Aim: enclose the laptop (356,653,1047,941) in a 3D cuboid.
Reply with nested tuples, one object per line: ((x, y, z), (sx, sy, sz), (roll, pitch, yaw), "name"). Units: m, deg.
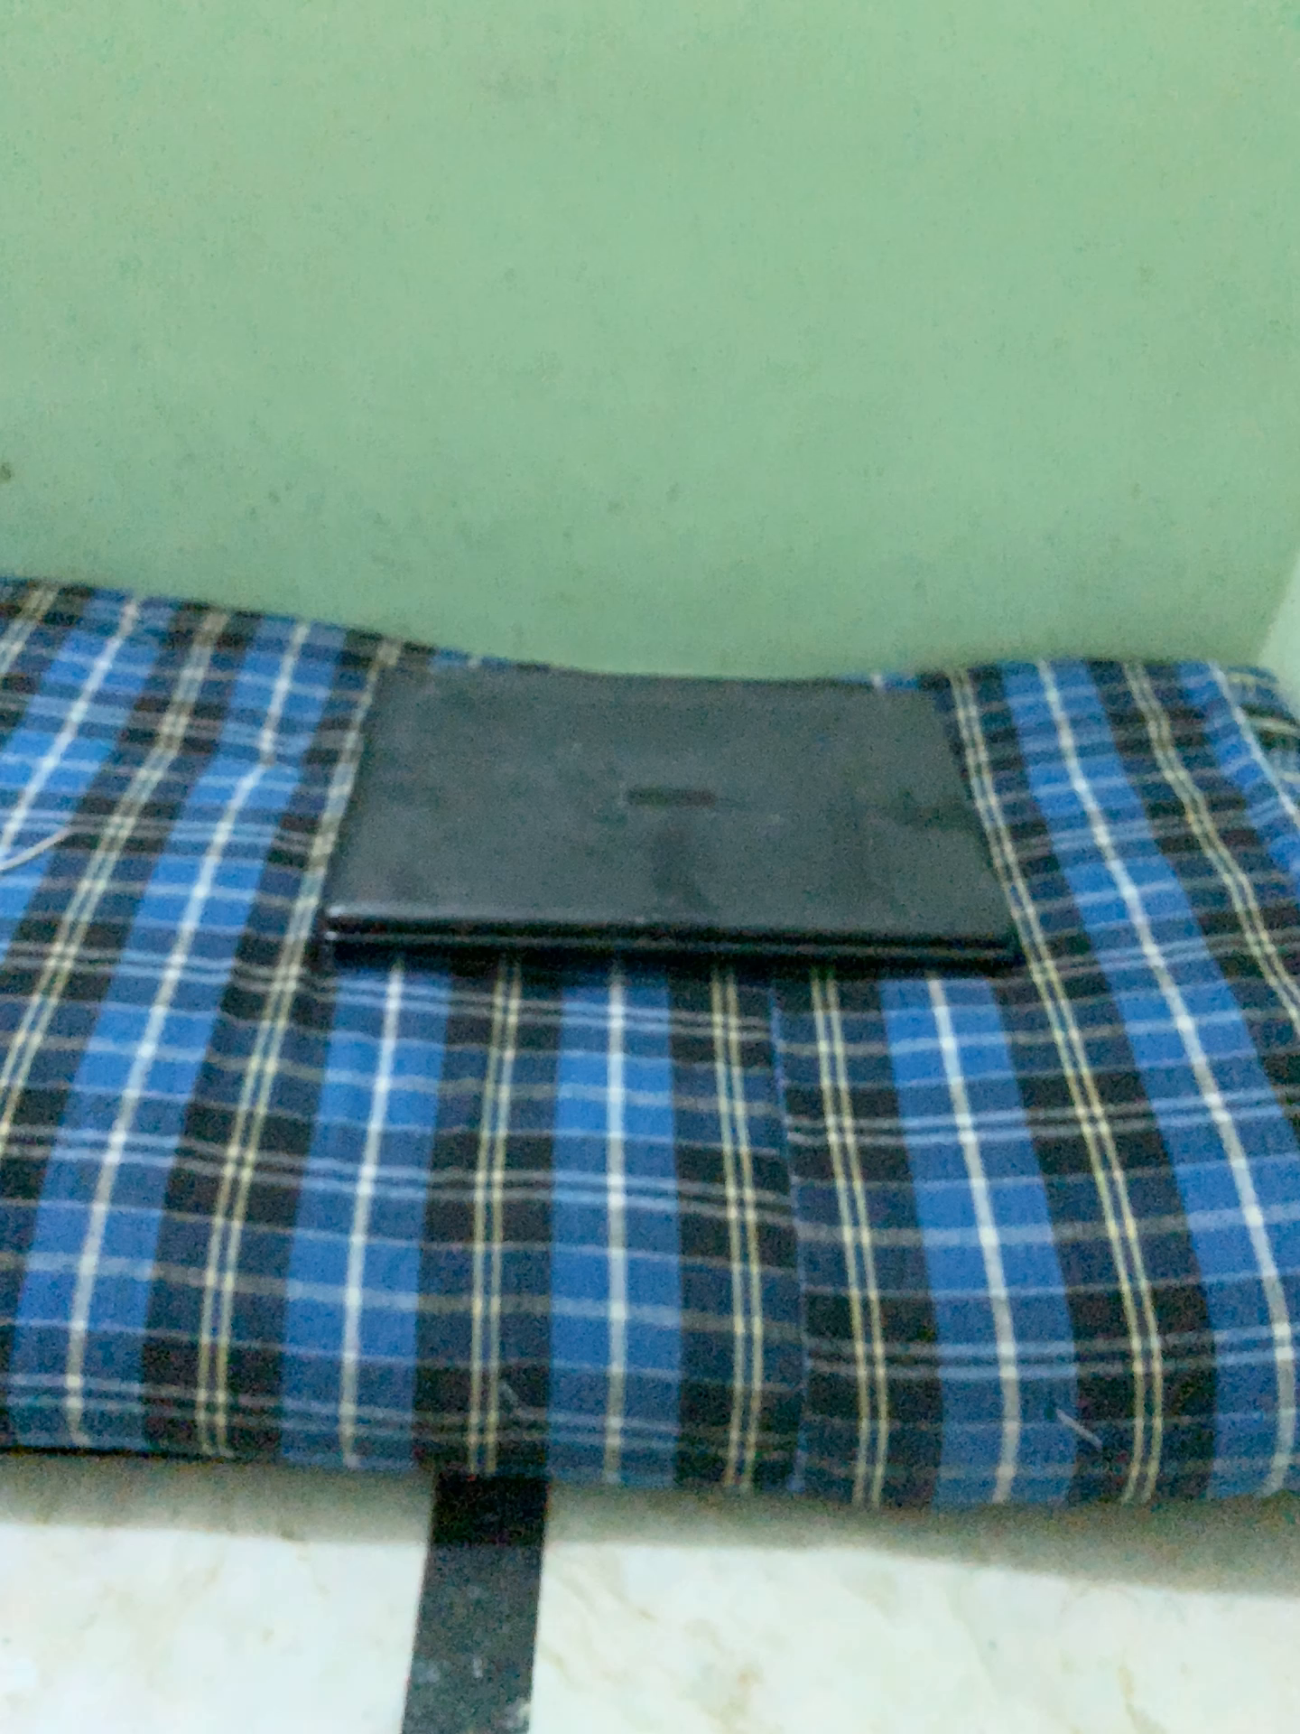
((0.026, -0.045, 0.715), (0.323, 0.005, 0.217), (4, 39, -2), "laptop")
